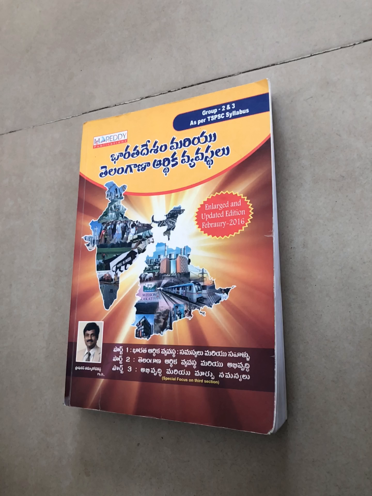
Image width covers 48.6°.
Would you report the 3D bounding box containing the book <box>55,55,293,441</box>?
[{"bbox_3d":[-0.016,-0.003,0.346,0.190,0.030,0.280,-5,77,25],"label":"book"}]
